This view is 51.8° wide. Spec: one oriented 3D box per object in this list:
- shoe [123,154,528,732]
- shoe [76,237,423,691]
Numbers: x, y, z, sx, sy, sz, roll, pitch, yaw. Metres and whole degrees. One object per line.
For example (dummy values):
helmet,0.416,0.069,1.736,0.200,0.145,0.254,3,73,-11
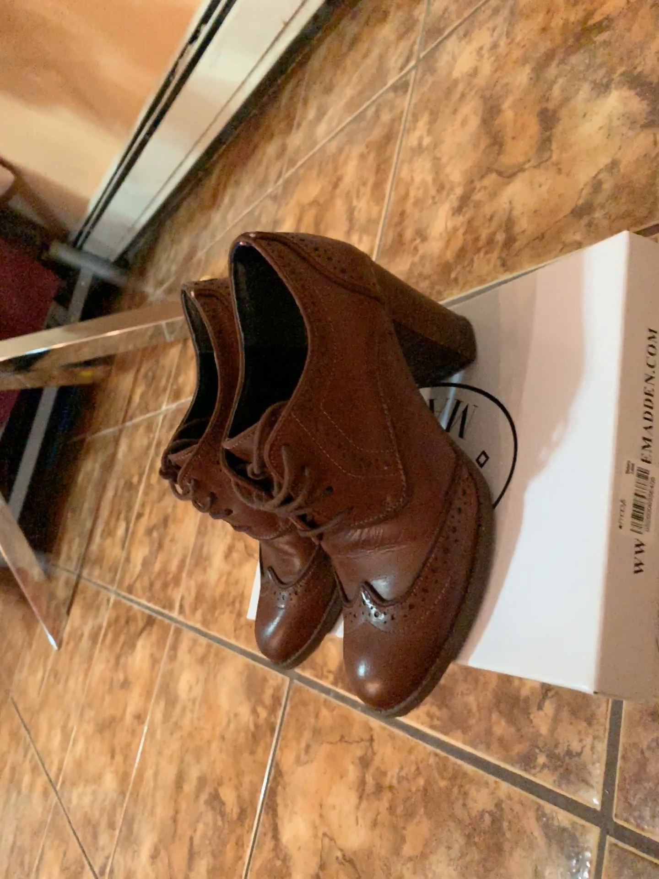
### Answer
shoe,0.006,0.008,0.338,0.096,0.136,0.228,-20,55,56
shoe,-0.046,0.020,0.426,0.096,0.136,0.228,-8,65,59
